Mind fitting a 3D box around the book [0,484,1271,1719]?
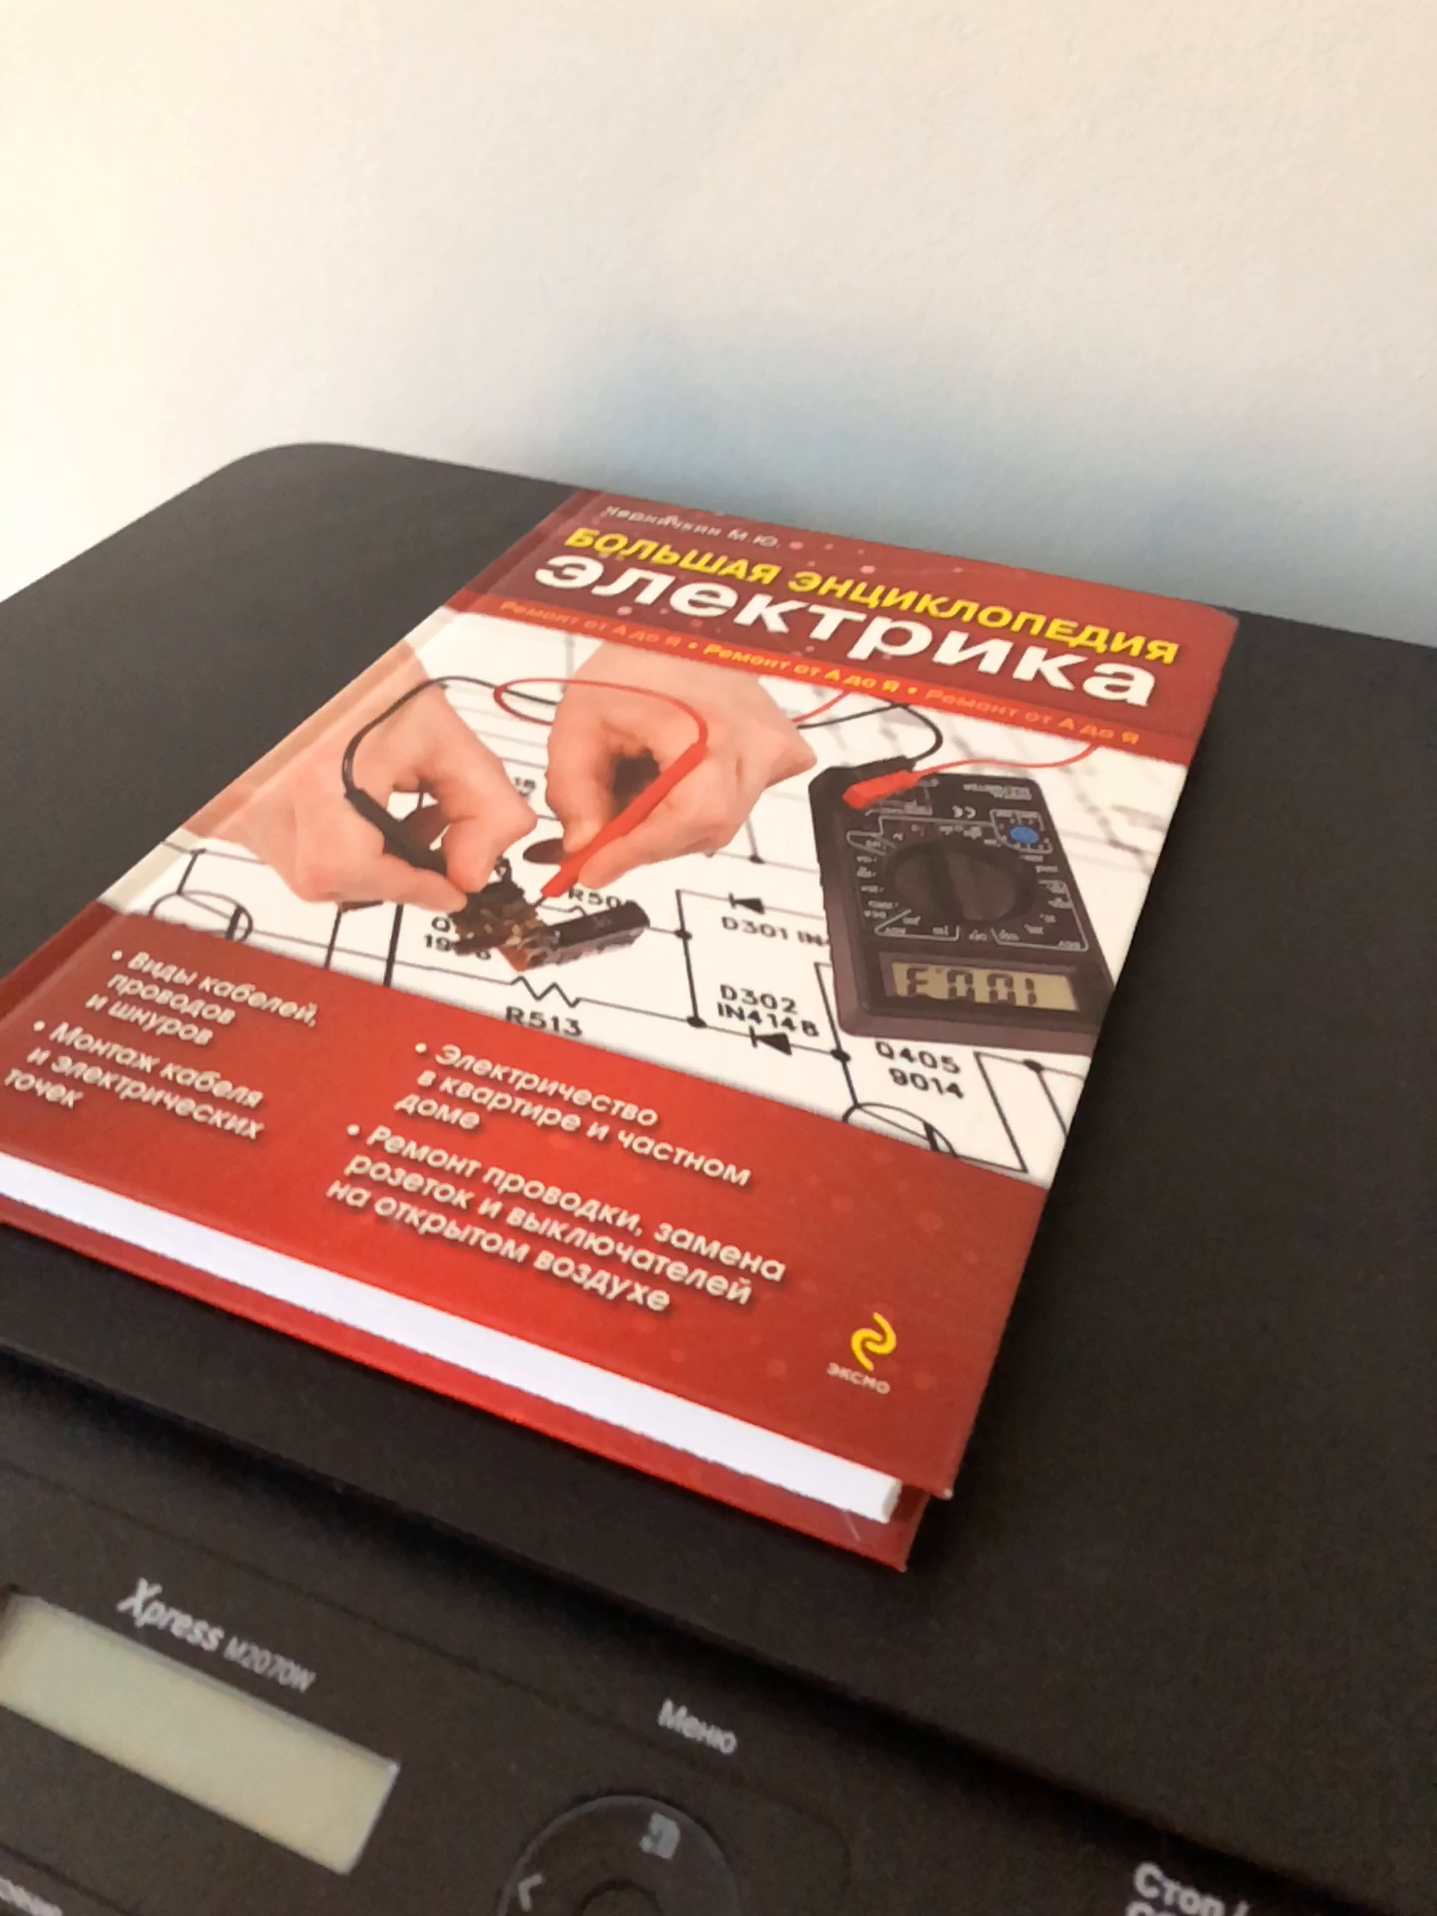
[{"bbox_3d":[-0.003,-0.011,0.301,0.170,0.040,0.242,15,42,17],"label":"book"}]
